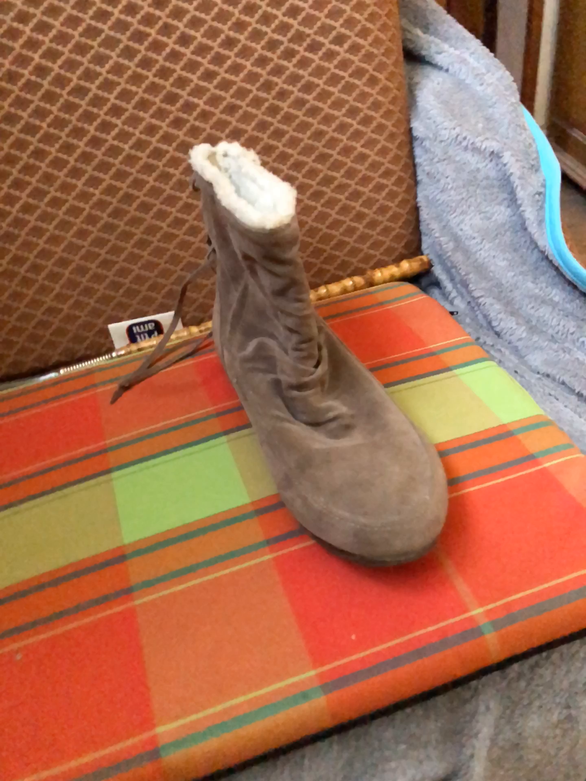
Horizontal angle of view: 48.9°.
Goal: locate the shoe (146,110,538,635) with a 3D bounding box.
[{"bbox_3d":[0.010,-0.031,0.371,0.100,0.159,0.261,-20,42,-9],"label":"shoe"}]
